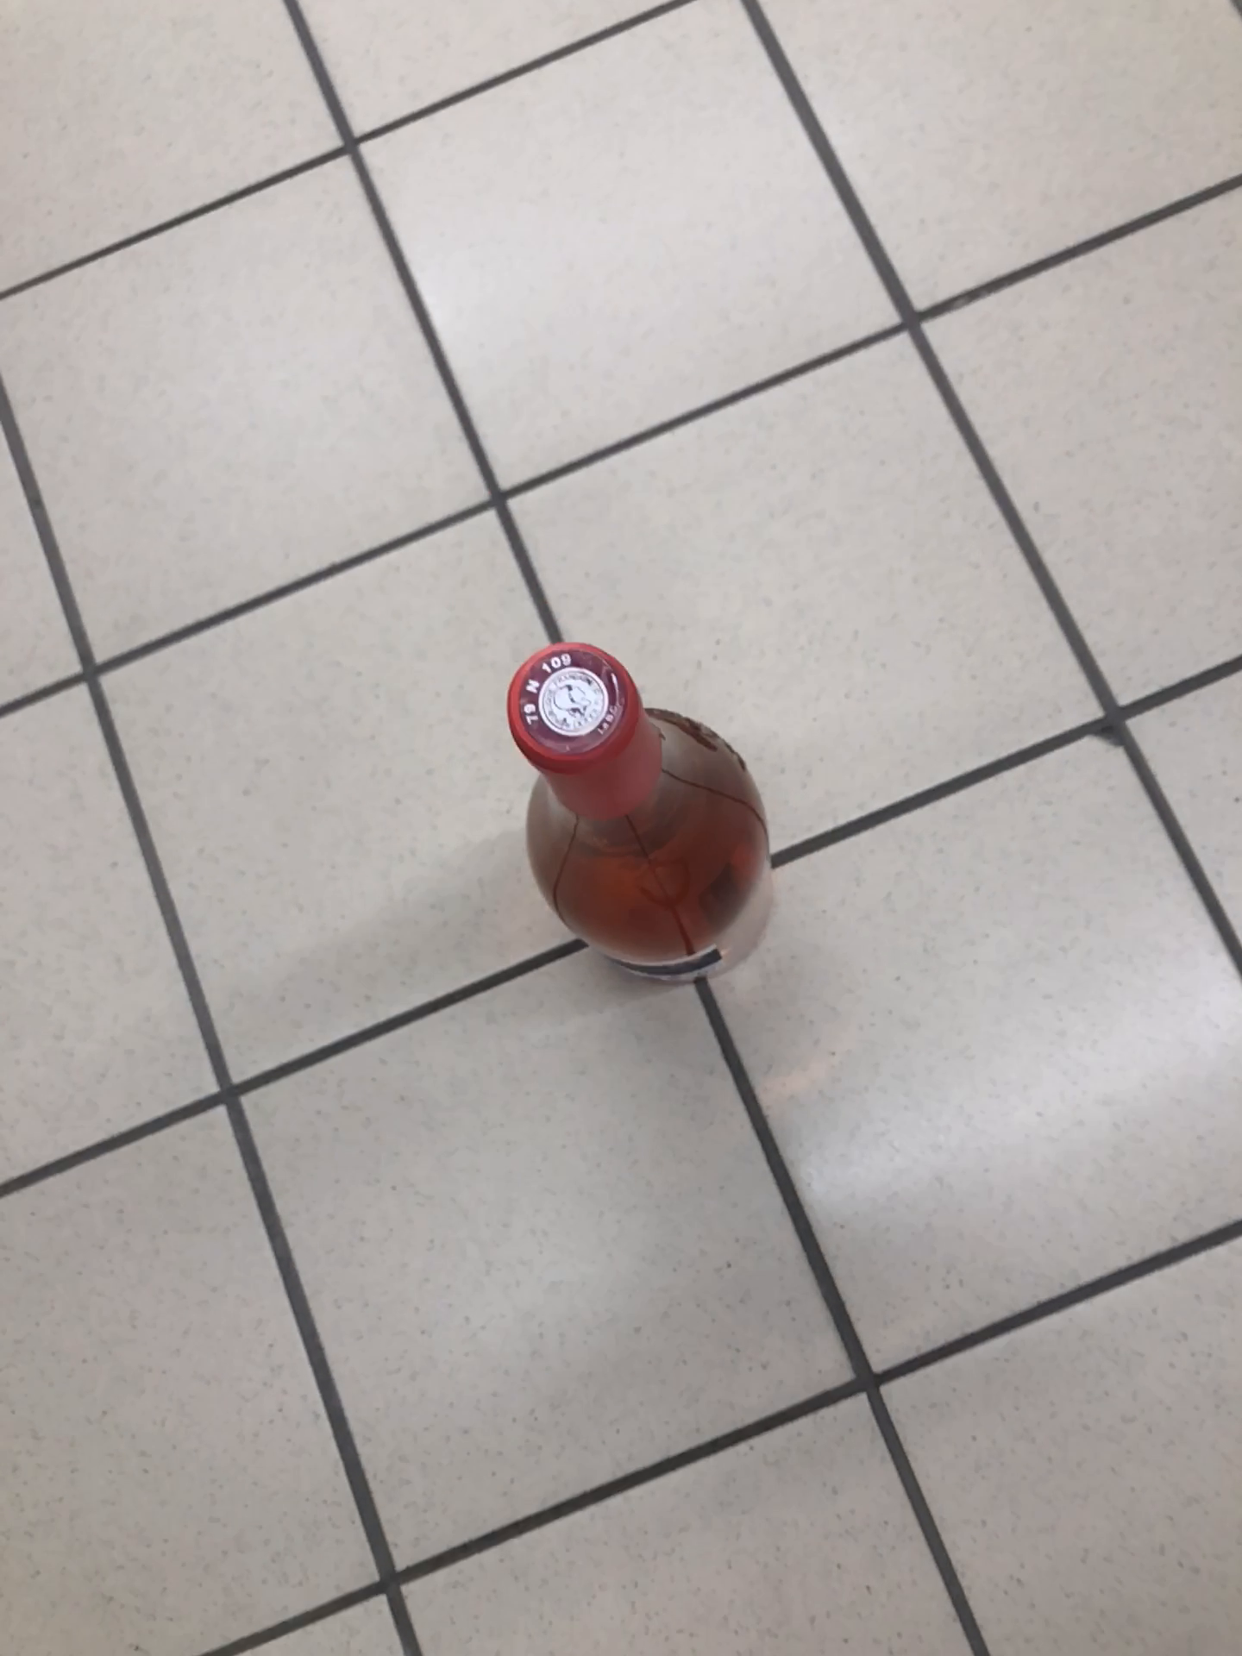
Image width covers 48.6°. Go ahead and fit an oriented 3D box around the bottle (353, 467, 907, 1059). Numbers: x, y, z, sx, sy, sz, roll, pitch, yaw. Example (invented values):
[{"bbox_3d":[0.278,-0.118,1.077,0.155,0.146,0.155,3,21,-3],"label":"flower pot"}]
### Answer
[{"bbox_3d":[0.016,0.006,0.419,0.090,0.280,0.090,-1,78,6],"label":"bottle"}]
